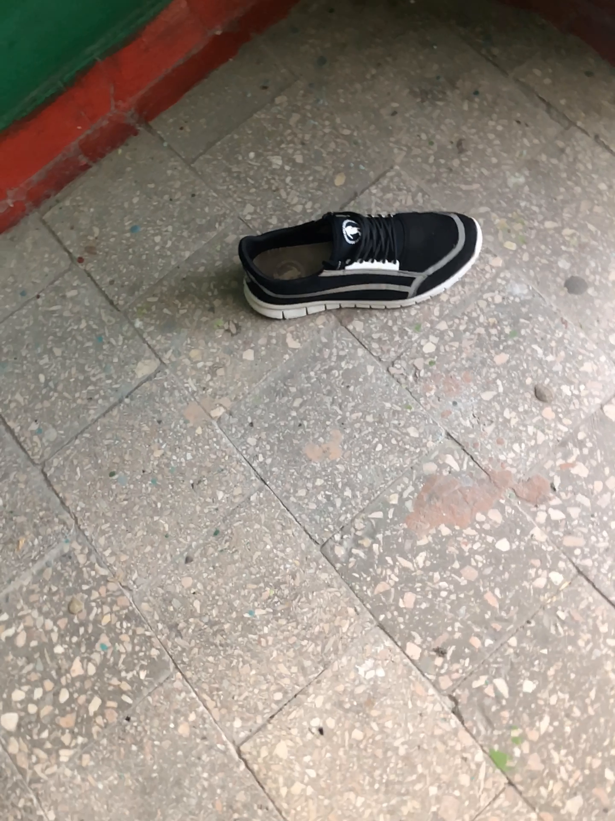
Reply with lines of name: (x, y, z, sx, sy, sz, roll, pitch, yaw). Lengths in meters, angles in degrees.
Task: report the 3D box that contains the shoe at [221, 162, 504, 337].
shoe: (0.058, -0.172, 0.753, 0.280, 0.120, 0.100, -8, 73, 5)
